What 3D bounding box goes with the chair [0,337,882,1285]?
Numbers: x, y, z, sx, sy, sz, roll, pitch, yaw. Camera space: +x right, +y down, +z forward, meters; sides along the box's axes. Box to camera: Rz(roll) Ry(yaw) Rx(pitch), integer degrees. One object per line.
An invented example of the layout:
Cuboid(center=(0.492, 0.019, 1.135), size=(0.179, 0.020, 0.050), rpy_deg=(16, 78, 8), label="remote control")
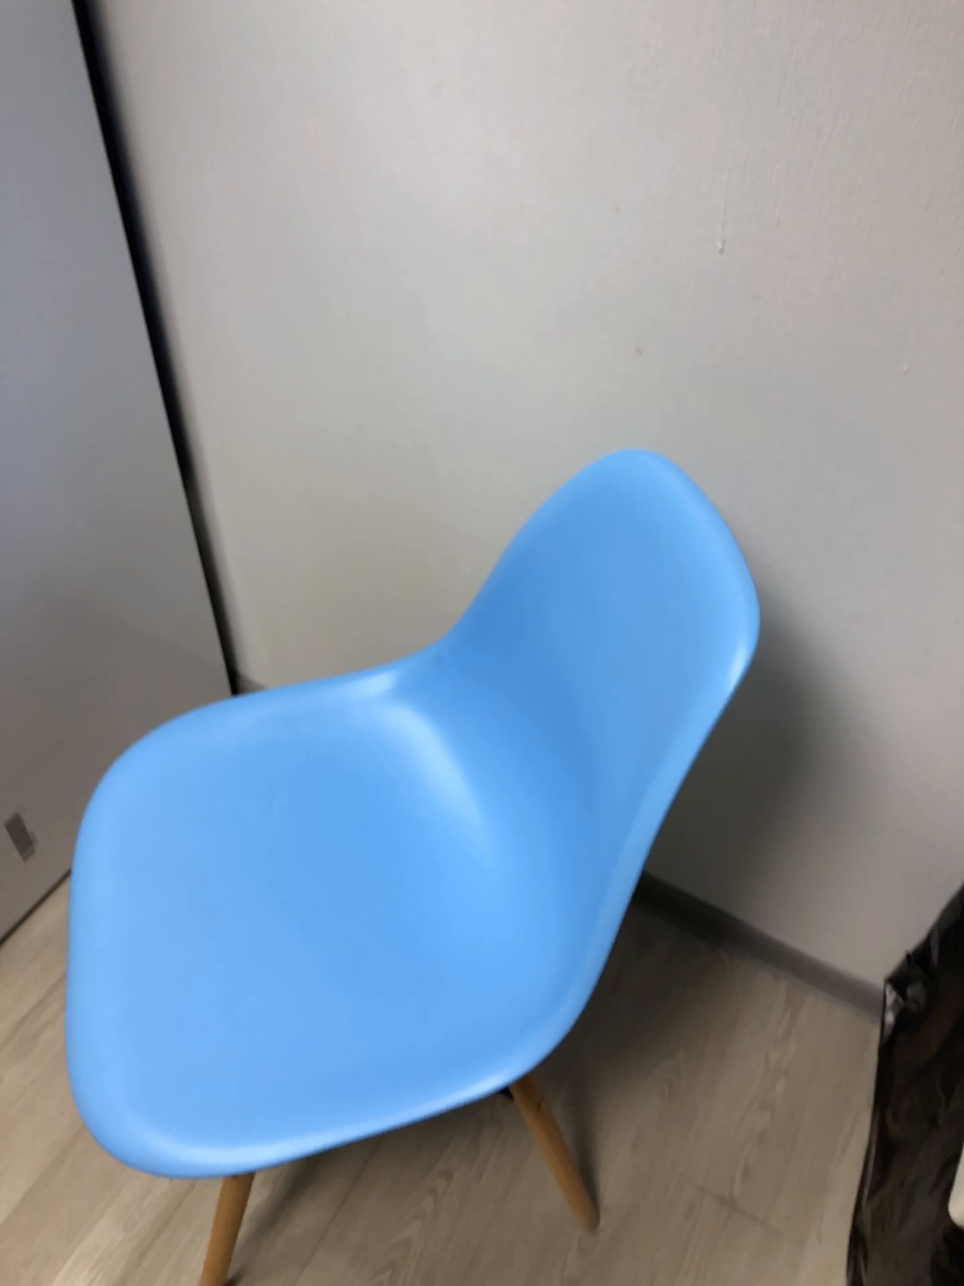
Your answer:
Cuboid(center=(-0.100, 0.212, 0.947), size=(0.530, 0.776, 0.462), rpy_deg=(-5, 46, -7), label="chair")
